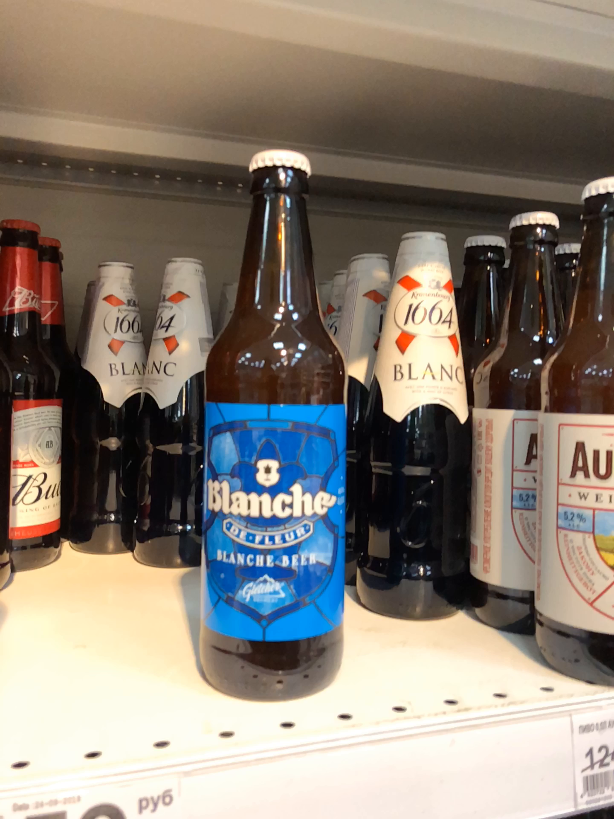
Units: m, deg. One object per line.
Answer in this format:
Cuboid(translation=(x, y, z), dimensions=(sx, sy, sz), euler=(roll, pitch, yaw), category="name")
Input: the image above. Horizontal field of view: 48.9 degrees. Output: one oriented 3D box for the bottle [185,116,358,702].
Cuboid(translation=(-0.018, 0.000, 0.320), dimensions=(0.070, 0.246, 0.069), euler=(1, 1, 0), category="bottle")
